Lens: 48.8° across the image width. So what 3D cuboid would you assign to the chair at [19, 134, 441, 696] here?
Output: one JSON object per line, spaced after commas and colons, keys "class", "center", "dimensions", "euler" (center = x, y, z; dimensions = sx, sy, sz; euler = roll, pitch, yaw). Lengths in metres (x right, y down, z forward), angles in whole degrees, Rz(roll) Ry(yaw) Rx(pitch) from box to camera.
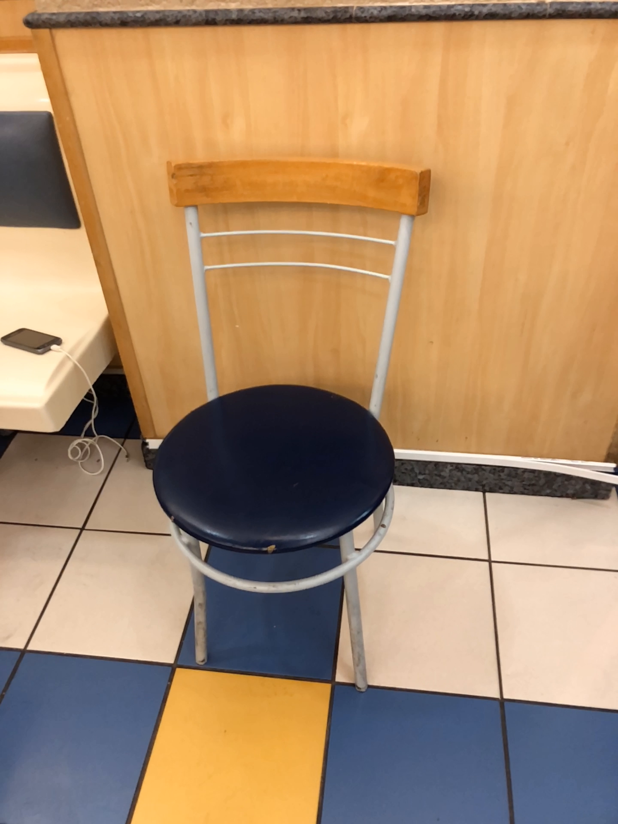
{"class": "chair", "center": [-0.035, 0.010, 1.133], "dimensions": [0.440, 0.744, 0.524], "euler": [4, 41, 9]}
